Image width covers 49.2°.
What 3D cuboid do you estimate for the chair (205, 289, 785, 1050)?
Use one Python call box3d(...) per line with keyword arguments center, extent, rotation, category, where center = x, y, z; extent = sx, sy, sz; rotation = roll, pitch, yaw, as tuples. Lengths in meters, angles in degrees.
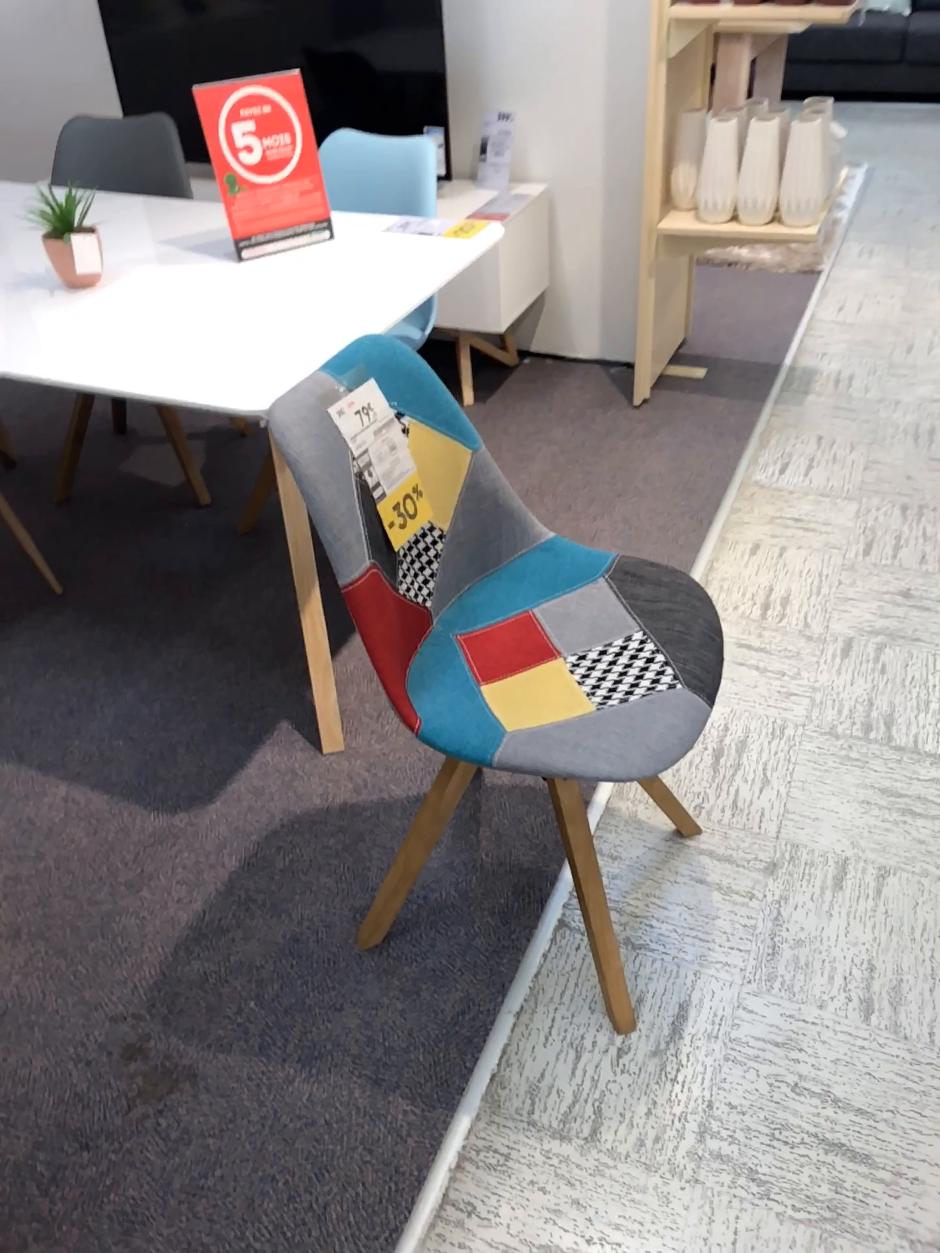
box3d(center=(0.072, 0.053, 1.375), extent=(0.510, 0.815, 0.473), rotation=(11, 39, 18), category="chair")
